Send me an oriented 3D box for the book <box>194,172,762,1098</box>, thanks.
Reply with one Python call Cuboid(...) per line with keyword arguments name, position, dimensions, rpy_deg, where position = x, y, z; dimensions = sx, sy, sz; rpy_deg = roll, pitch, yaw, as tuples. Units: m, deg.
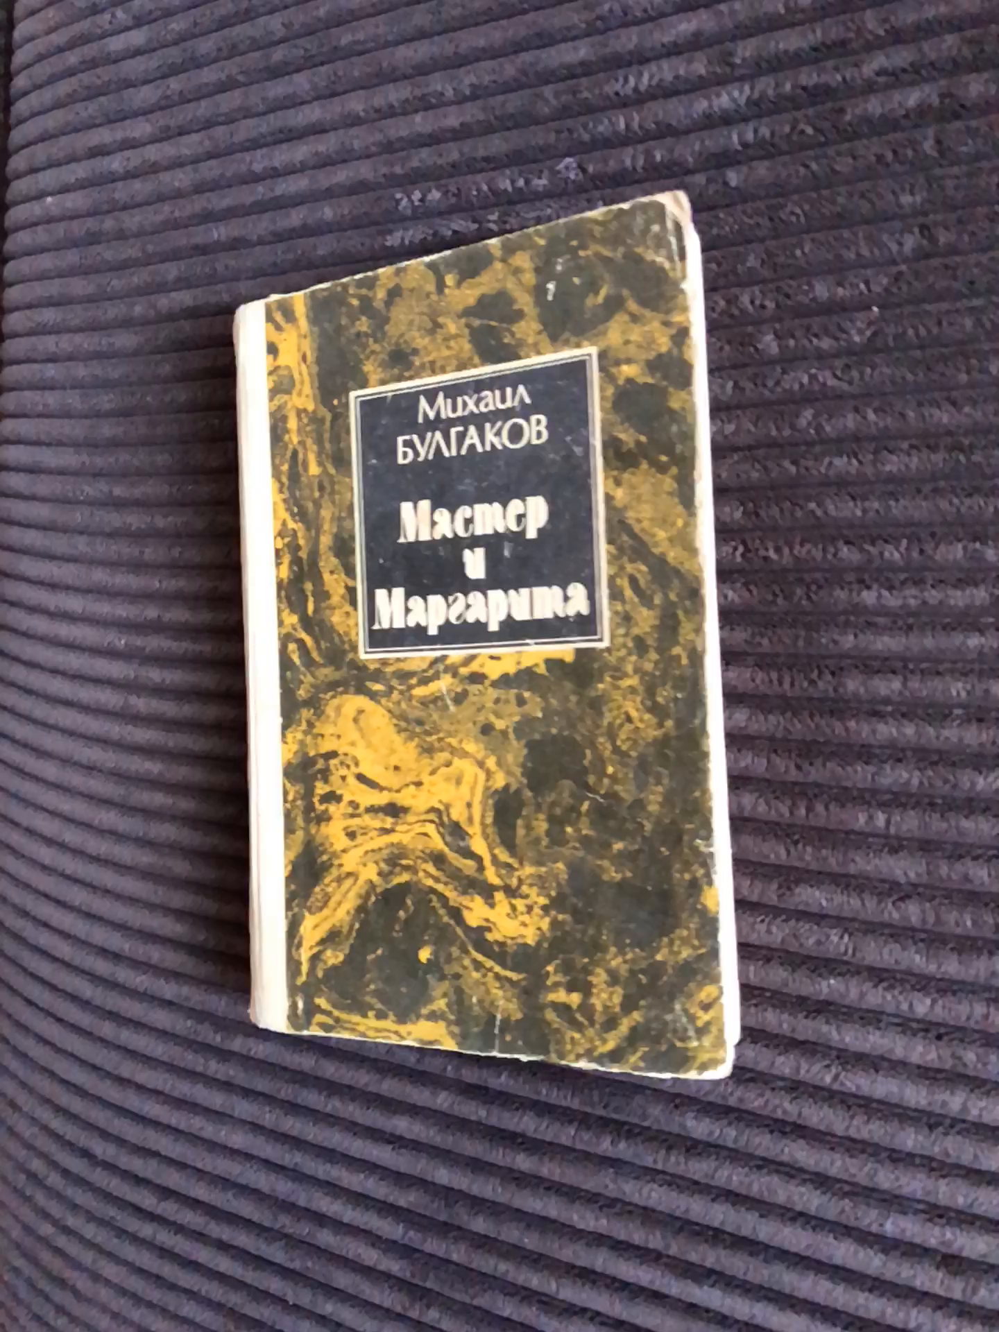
Cuboid(name="book", position=(-0.013, -0.005, 0.311), dimensions=(0.155, 0.035, 0.220), rpy_deg=(-4, 85, 27))
